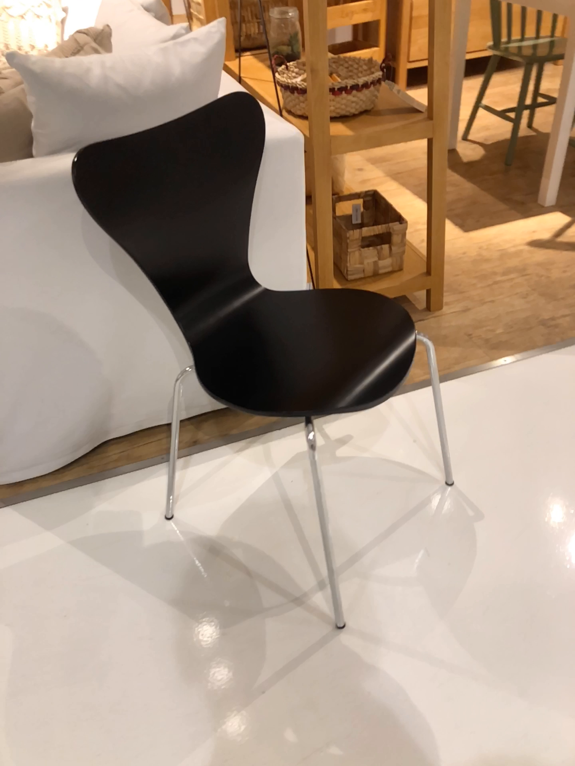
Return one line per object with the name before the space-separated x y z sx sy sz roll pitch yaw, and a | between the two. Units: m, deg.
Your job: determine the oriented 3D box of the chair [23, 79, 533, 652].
chair | 0.016 -0.061 1.188 0.552 0.774 0.543 24 47 31
